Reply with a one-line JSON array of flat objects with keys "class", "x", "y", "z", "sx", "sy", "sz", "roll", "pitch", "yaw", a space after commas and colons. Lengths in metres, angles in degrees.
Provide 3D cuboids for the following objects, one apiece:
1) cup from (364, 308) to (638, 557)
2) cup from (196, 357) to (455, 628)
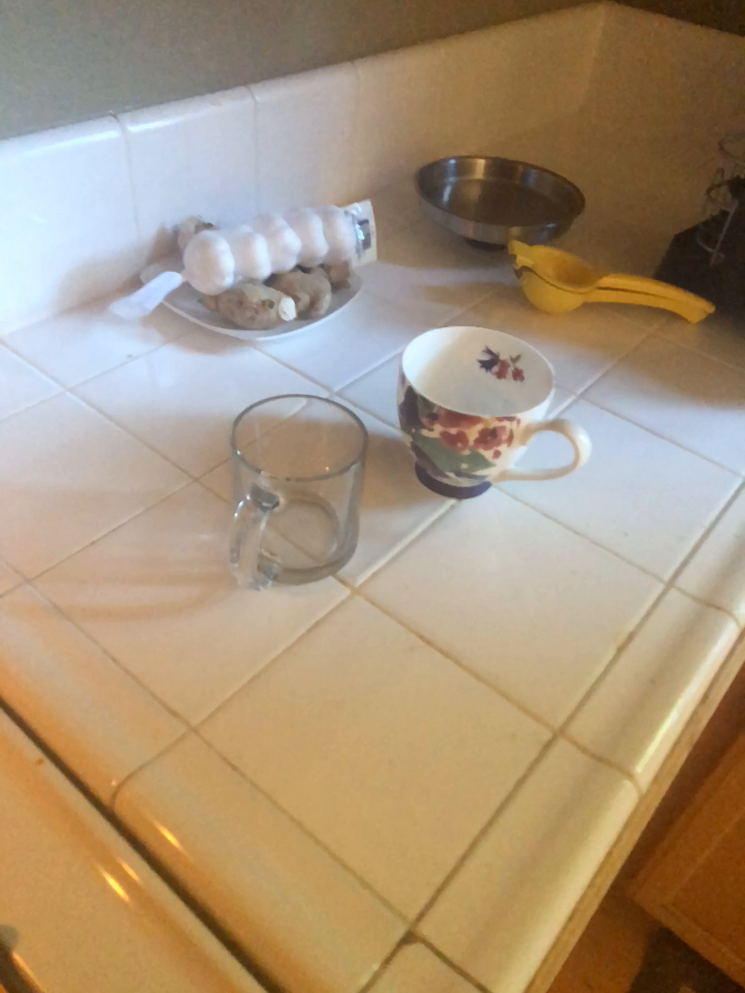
[{"class": "cup", "x": 0.086, "y": -0.051, "z": 0.571, "sx": 0.111, "sy": 0.079, "sz": 0.140, "roll": -31, "pitch": 55, "yaw": -34}, {"class": "cup", "x": -0.027, "y": -0.008, "z": 0.510, "sx": 0.100, "sy": 0.079, "sz": 0.131, "roll": 25, "pitch": 45, "yaw": 18}]
